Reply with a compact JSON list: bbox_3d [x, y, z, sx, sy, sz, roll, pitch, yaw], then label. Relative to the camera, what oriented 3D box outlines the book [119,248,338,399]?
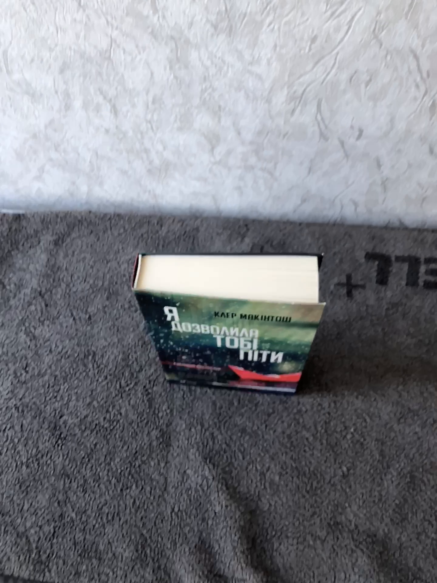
[{"bbox_3d":[0.010,0.038,0.407,0.139,0.202,0.044,1,62,3],"label":"book"}]
